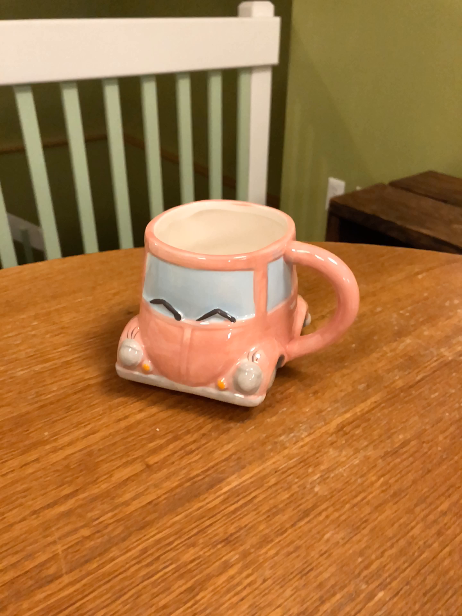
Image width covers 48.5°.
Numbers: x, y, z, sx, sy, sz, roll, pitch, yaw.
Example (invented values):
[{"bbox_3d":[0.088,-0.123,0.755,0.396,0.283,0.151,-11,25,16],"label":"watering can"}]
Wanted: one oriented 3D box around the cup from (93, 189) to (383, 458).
[{"bbox_3d":[0.013,-0.002,0.328,0.139,0.097,0.128,0,31,0],"label":"cup"}]
